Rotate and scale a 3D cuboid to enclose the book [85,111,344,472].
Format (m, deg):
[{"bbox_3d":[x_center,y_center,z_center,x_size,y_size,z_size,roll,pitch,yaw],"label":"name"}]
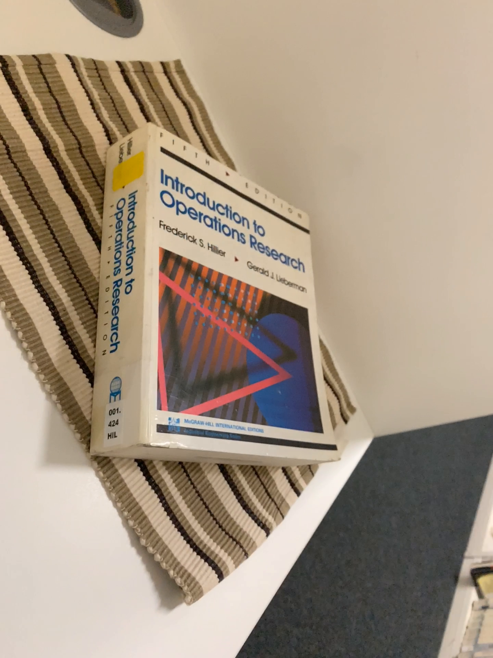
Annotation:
[{"bbox_3d":[-0.016,-0.016,0.401,0.196,0.052,0.234,19,58,-43],"label":"book"}]
